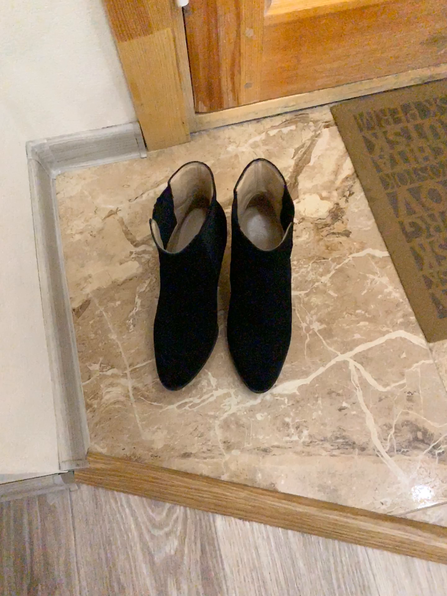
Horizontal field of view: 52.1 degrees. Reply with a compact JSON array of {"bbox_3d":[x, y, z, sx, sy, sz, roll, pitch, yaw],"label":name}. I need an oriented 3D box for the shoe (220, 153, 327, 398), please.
[{"bbox_3d":[0.045,-0.010,0.519,0.086,0.199,0.215,-2,70,1],"label":"shoe"}]

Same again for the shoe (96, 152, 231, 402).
[{"bbox_3d":[-0.049,-0.009,0.516,0.086,0.199,0.215,6,70,4],"label":"shoe"}]
